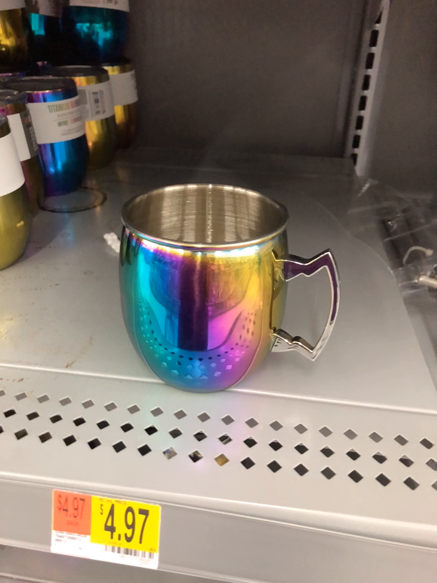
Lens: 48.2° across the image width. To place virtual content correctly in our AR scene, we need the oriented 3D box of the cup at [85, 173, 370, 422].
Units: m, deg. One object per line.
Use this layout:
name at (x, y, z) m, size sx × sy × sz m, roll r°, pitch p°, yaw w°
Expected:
cup at (0.008, -0.003, 0.295) m, size 0.133 × 0.097 × 0.104 m, roll 6°, pitch 32°, yaw 6°
